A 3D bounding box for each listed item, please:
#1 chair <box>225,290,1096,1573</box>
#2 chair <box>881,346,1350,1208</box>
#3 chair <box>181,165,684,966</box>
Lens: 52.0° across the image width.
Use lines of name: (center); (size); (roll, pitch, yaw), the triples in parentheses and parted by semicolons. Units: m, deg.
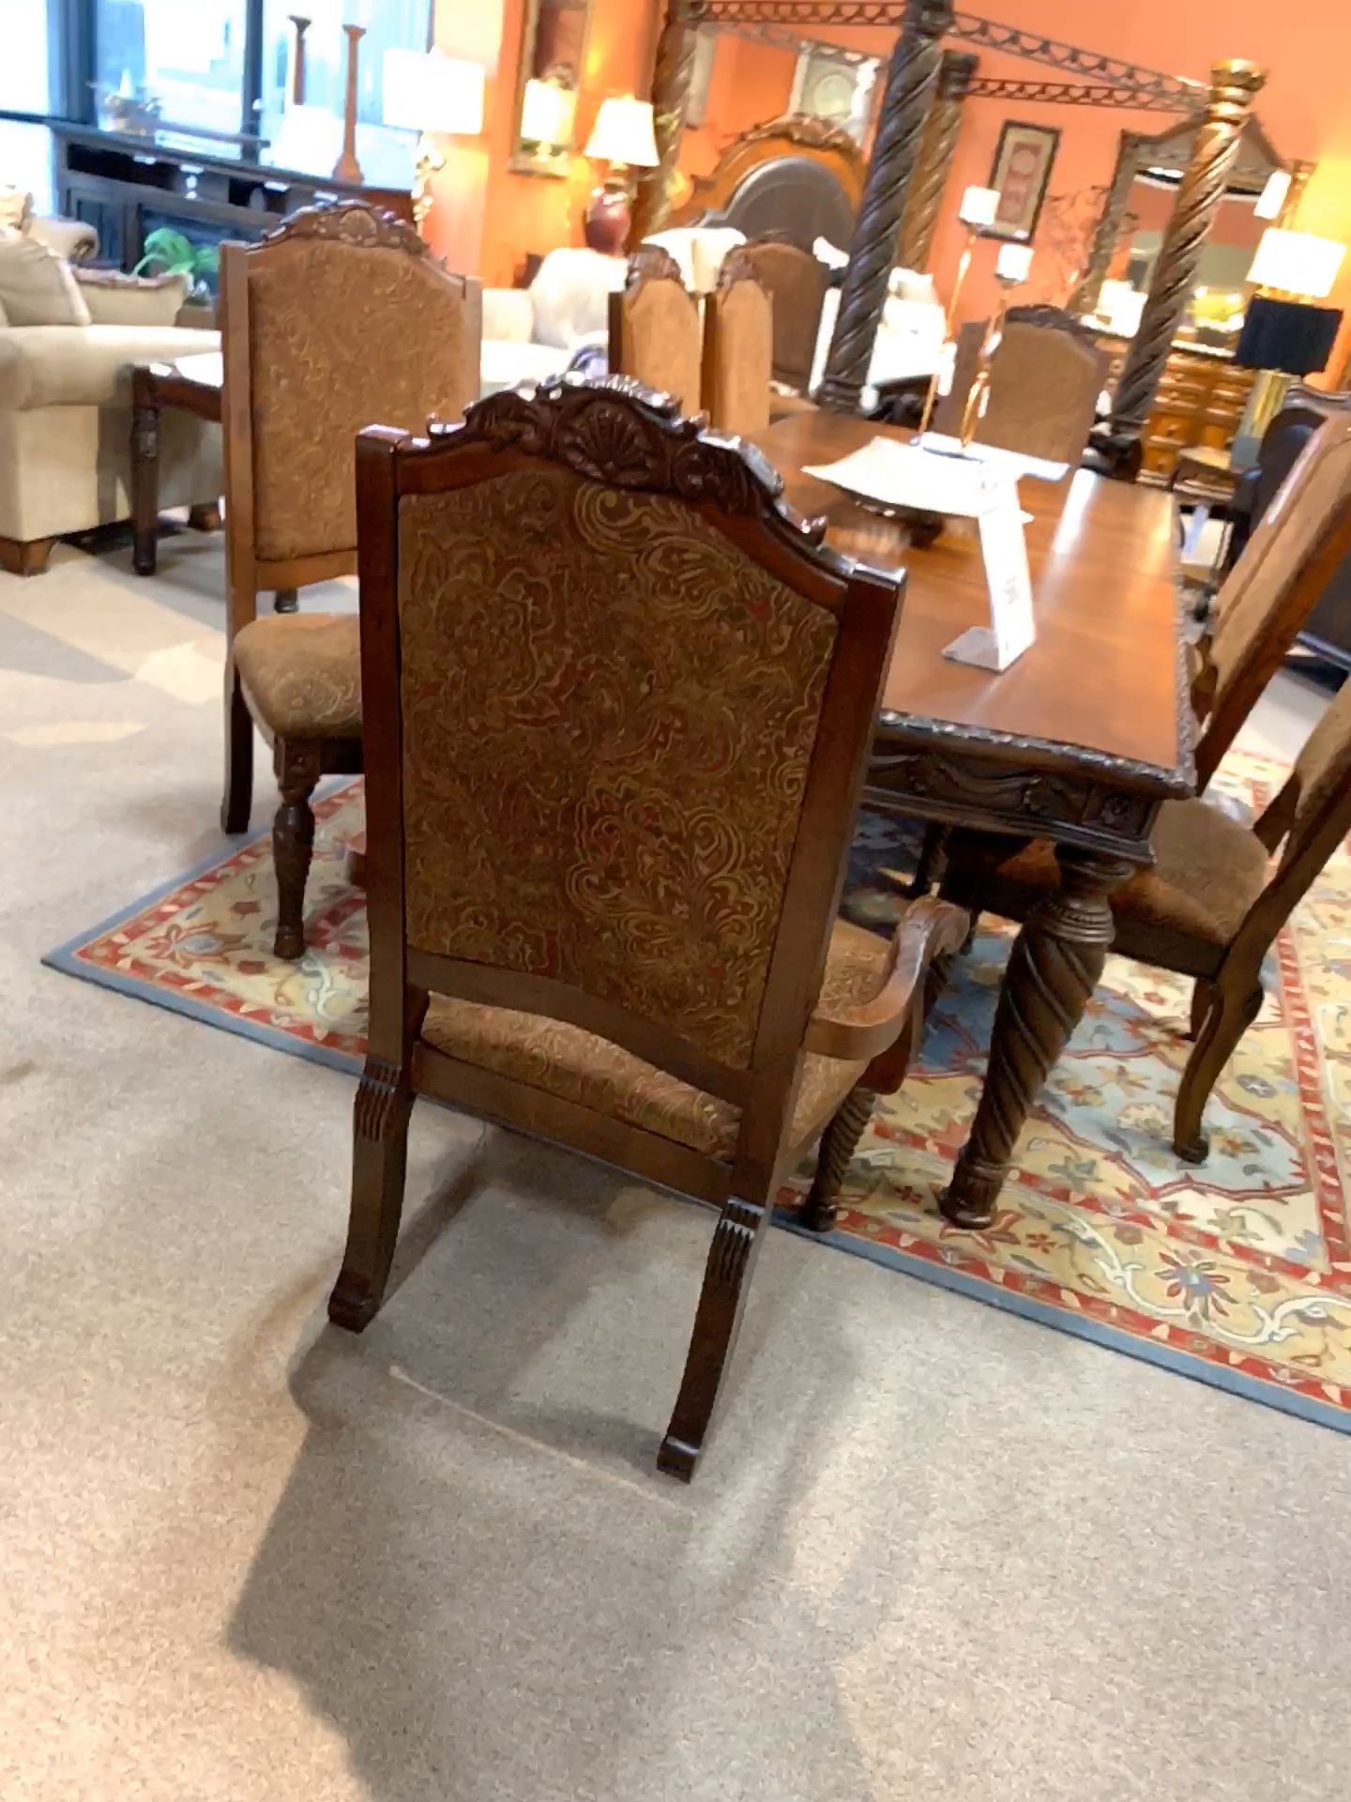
chair: (-0.027, -0.015, 1.539); (0.583, 1.124, 0.672); (19, 28, 14)
chair: (0.830, -0.221, 2.229); (0.619, 1.133, 0.566); (19, 28, 15)
chair: (-0.508, -0.592, 2.512); (0.604, 1.183, 0.671); (-5, 31, -29)
